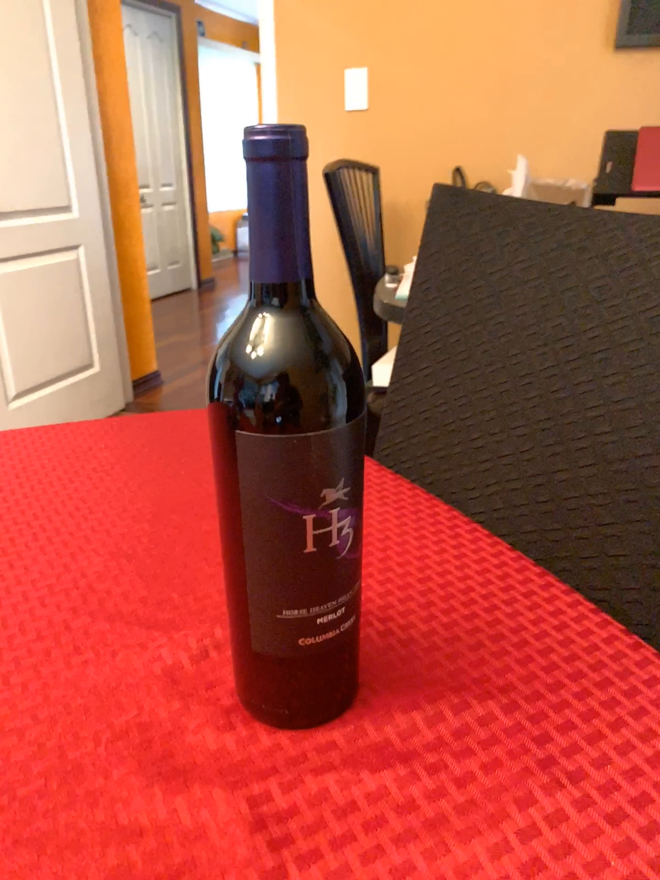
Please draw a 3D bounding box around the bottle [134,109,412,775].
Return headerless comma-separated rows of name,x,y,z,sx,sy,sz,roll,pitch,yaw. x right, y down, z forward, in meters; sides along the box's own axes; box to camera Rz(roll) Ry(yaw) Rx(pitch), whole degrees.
bottle,-0.024,0.006,0.326,0.080,0.289,0.080,0,22,0
